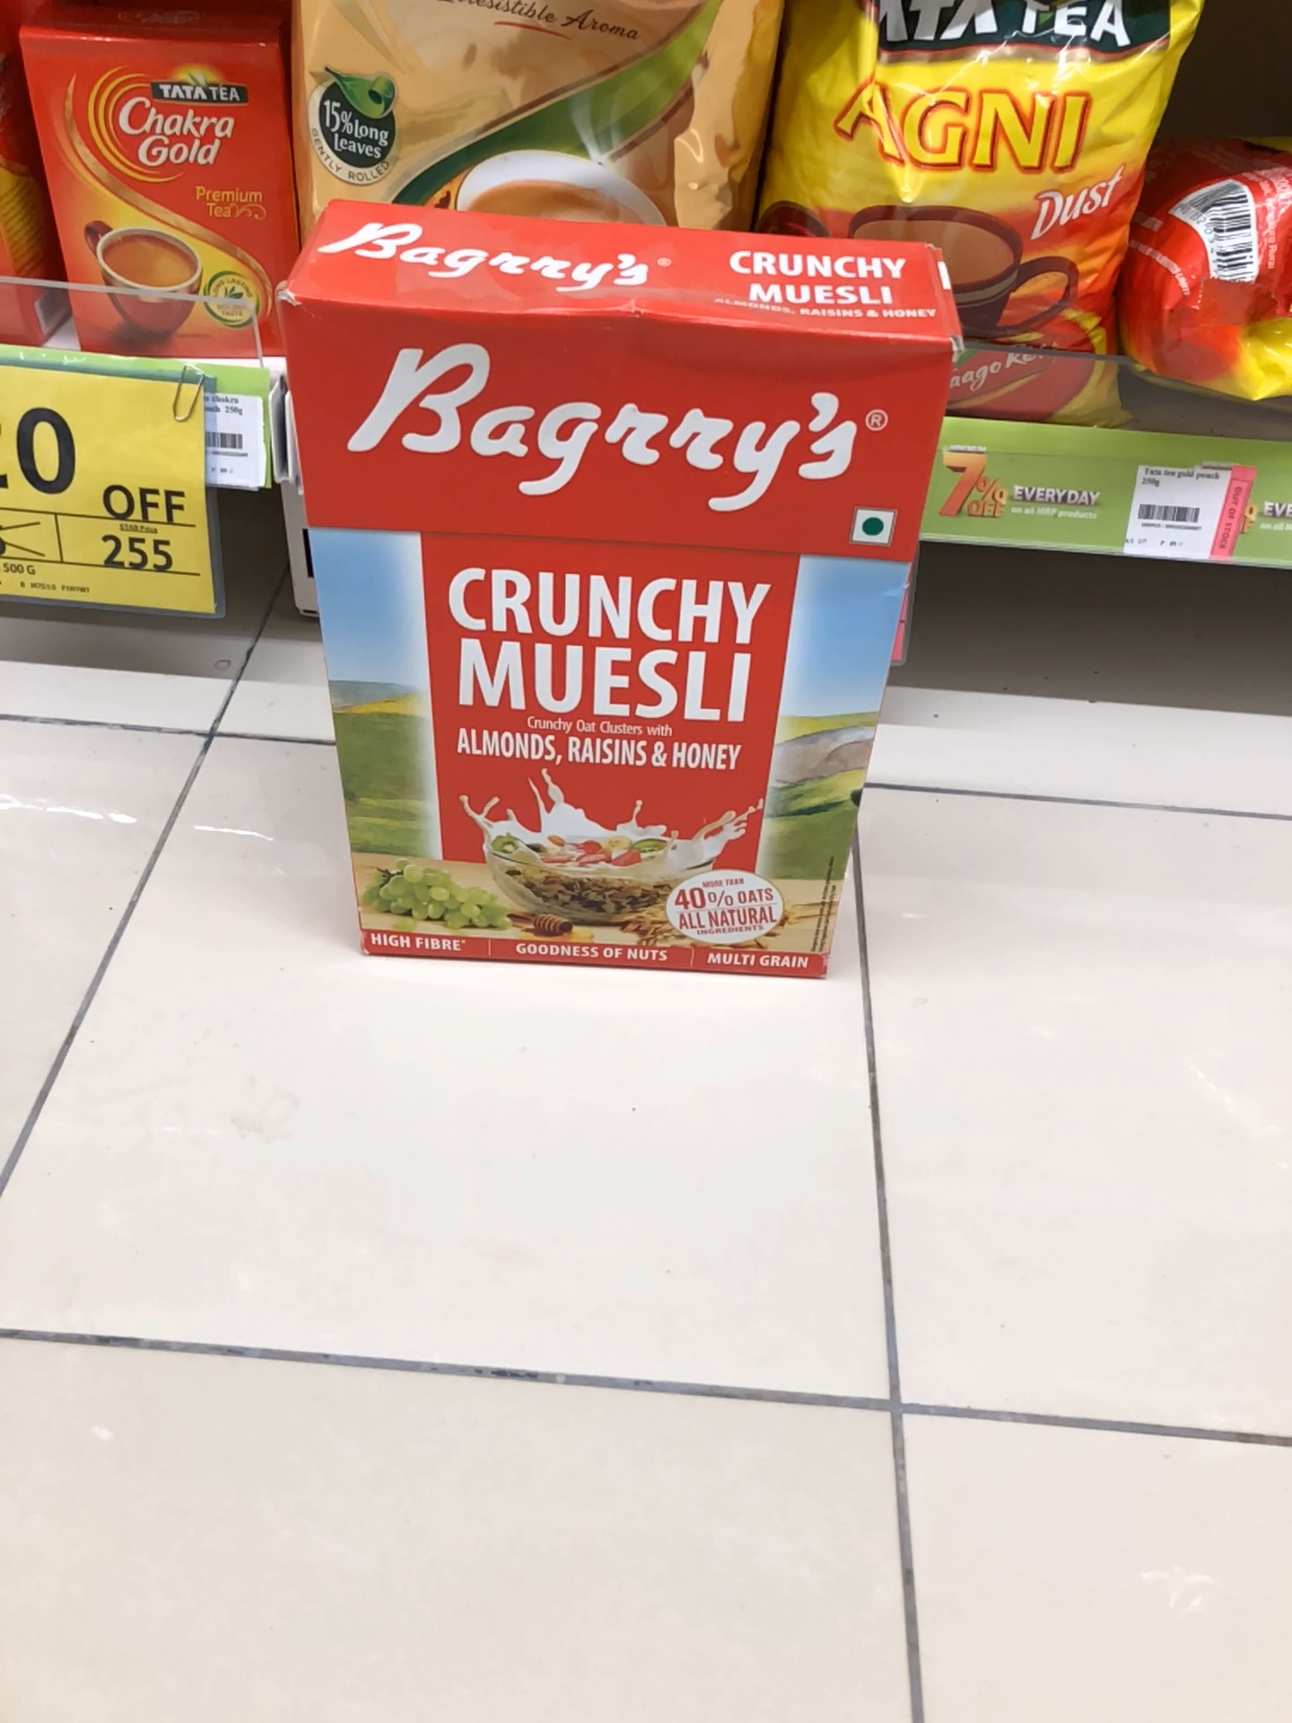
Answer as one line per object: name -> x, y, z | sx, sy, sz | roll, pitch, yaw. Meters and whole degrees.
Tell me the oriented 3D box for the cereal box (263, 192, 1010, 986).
cereal box -> -0.008, -0.076, 0.499 | 0.200, 0.268, 0.071 | 3, 44, -1
